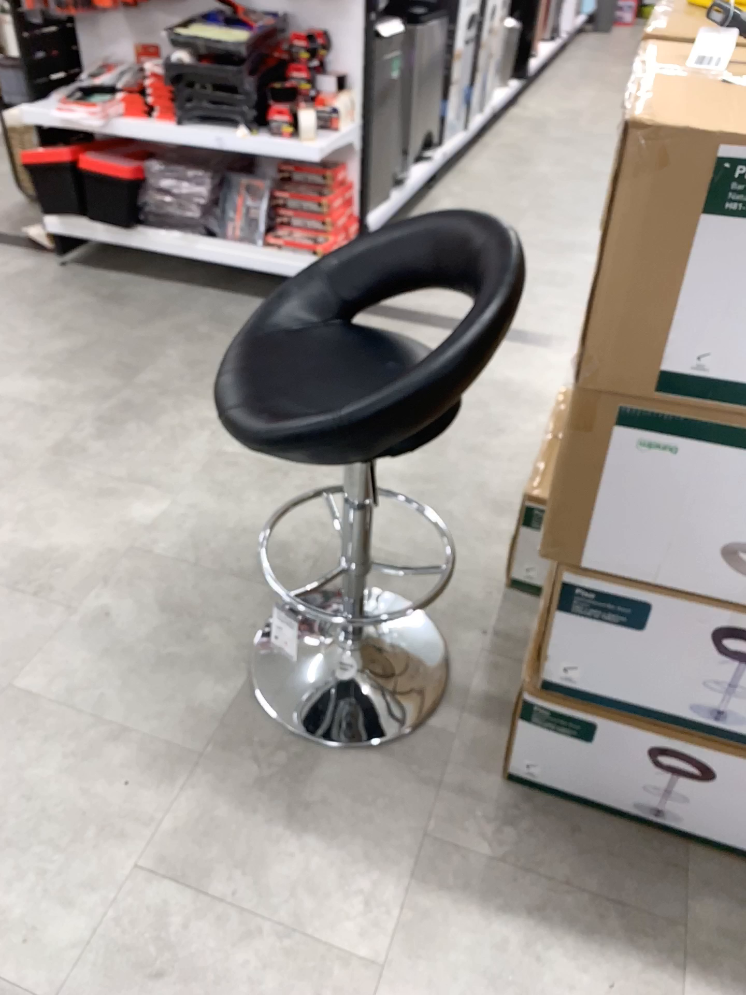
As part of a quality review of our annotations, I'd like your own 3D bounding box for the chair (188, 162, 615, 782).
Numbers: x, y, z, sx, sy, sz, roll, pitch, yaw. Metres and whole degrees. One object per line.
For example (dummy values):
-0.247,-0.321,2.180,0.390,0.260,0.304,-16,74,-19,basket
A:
-0.016,-0.019,1.346,0.482,0.933,0.514,-3,39,-8,chair
